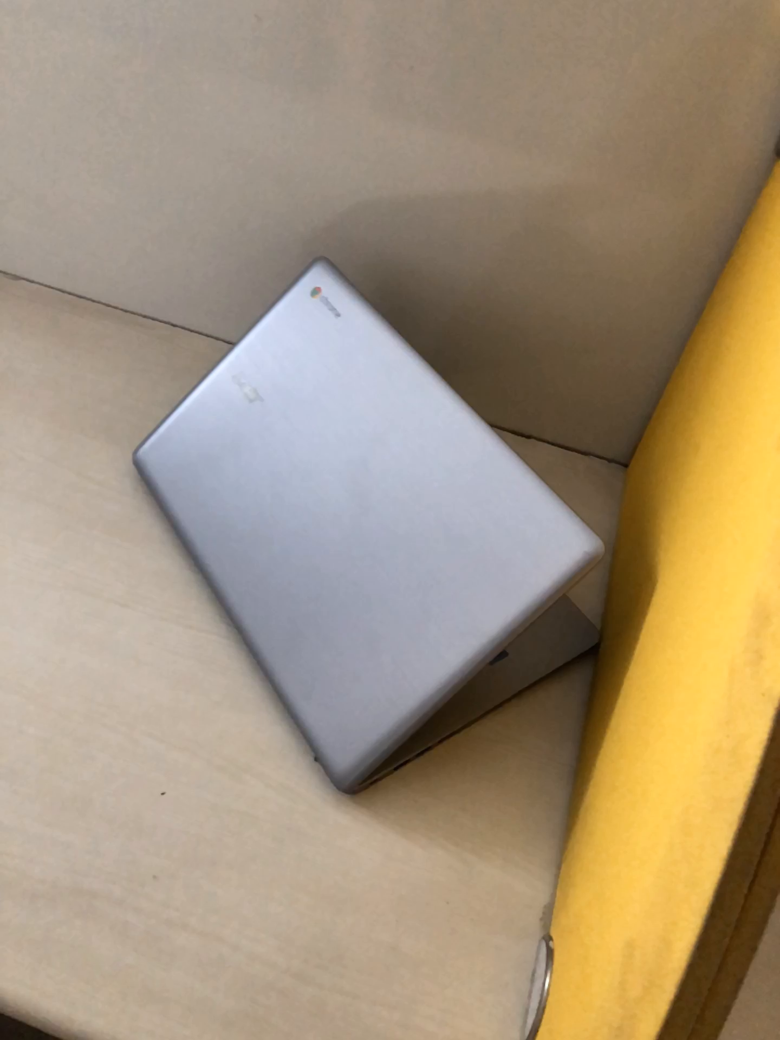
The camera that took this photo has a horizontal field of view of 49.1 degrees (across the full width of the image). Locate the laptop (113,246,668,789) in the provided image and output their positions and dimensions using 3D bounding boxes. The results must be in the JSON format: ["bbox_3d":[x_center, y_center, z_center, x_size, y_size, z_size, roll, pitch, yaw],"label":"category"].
[{"bbox_3d":[-0.017,-0.024,0.604,0.222,0.135,0.316,-24,58,-25],"label":"laptop"}]
